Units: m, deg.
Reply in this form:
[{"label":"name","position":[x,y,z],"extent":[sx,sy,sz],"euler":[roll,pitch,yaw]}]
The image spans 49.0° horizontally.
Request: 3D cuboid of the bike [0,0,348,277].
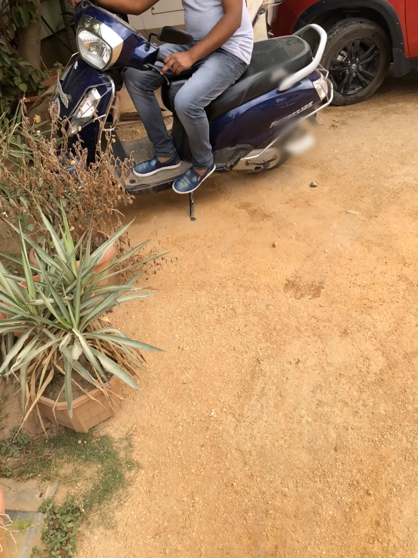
[{"label":"bike","position":[-0.168,-0.890,2.424],"extent":[1.623,1.222,0.590],"euler":[-21,38,-15]}]
